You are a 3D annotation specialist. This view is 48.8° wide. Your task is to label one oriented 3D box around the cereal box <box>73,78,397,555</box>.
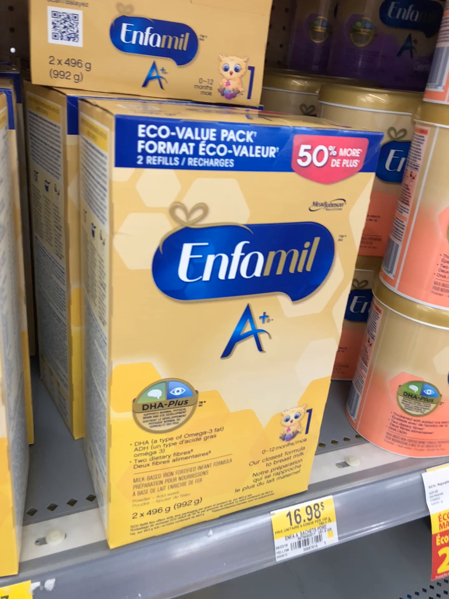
[{"bbox_3d":[-0.008,0.012,0.309,0.150,0.258,0.080,-6,26,-25],"label":"cereal box"}]
